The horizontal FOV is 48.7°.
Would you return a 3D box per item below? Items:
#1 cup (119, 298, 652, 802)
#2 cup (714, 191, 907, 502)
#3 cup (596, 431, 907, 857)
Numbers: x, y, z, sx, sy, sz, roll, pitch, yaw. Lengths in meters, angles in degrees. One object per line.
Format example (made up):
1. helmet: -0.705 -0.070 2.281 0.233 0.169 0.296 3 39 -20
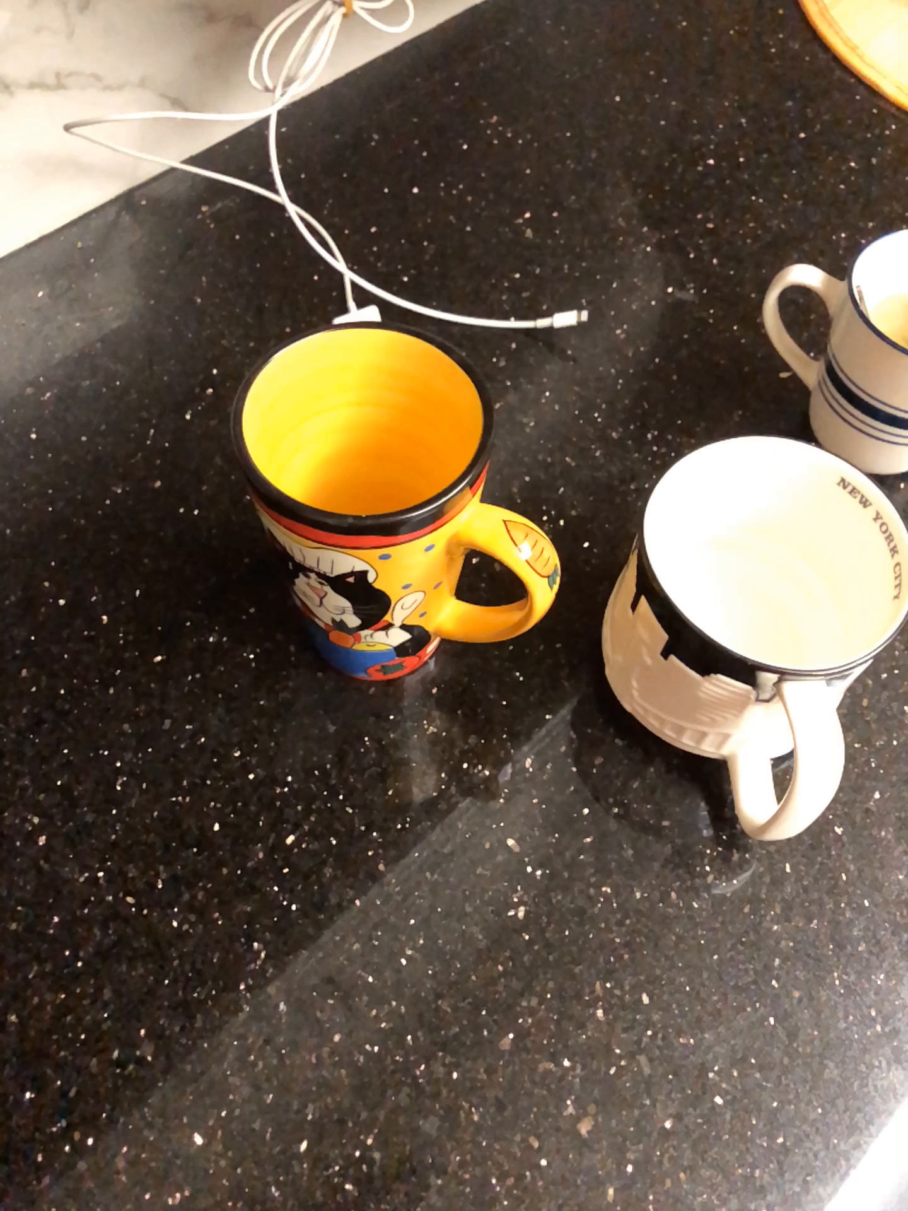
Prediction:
1. cup: -0.023 -0.020 0.382 0.150 0.100 0.100 28 63 14
2. cup: 0.201 -0.122 0.468 0.120 0.060 0.090 26 62 13
3. cup: 0.119 0.015 0.387 0.110 0.080 0.140 2 60 -1
